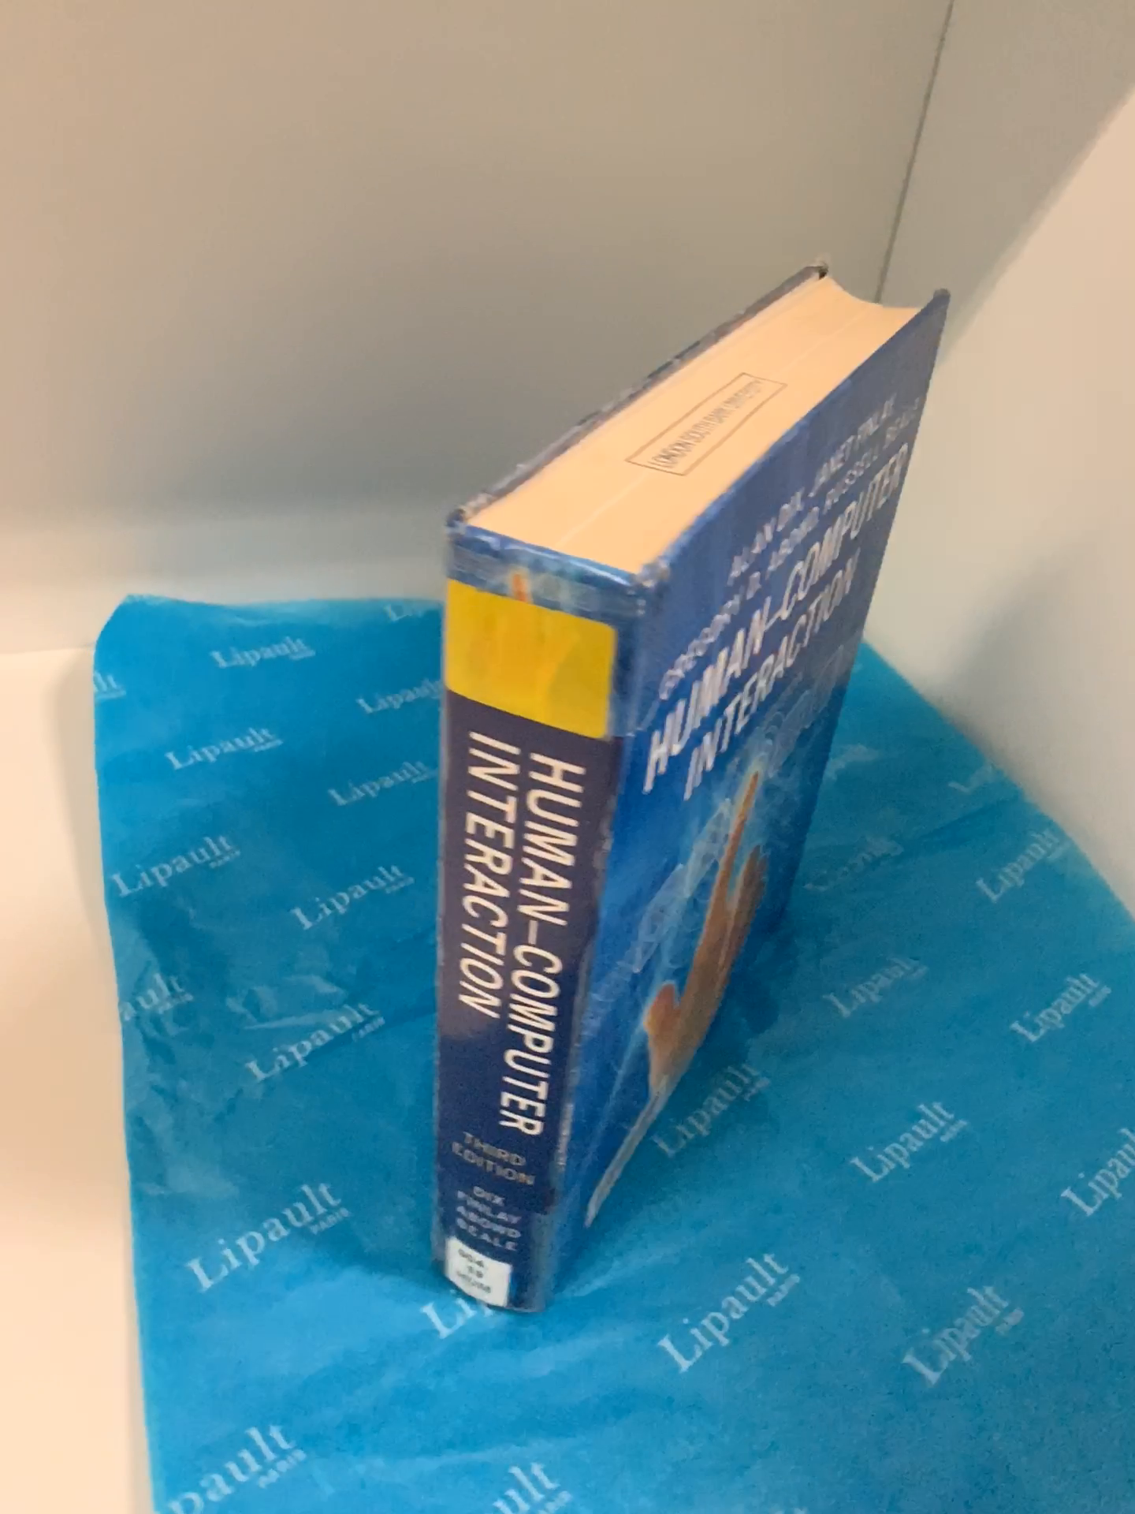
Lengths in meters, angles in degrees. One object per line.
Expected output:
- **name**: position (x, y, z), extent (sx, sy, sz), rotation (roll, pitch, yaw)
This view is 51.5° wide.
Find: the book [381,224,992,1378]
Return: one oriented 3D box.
- **book**: position (0.034, 0.006, 0.340), extent (0.050, 0.258, 0.222), rotation (22, 39, 19)
